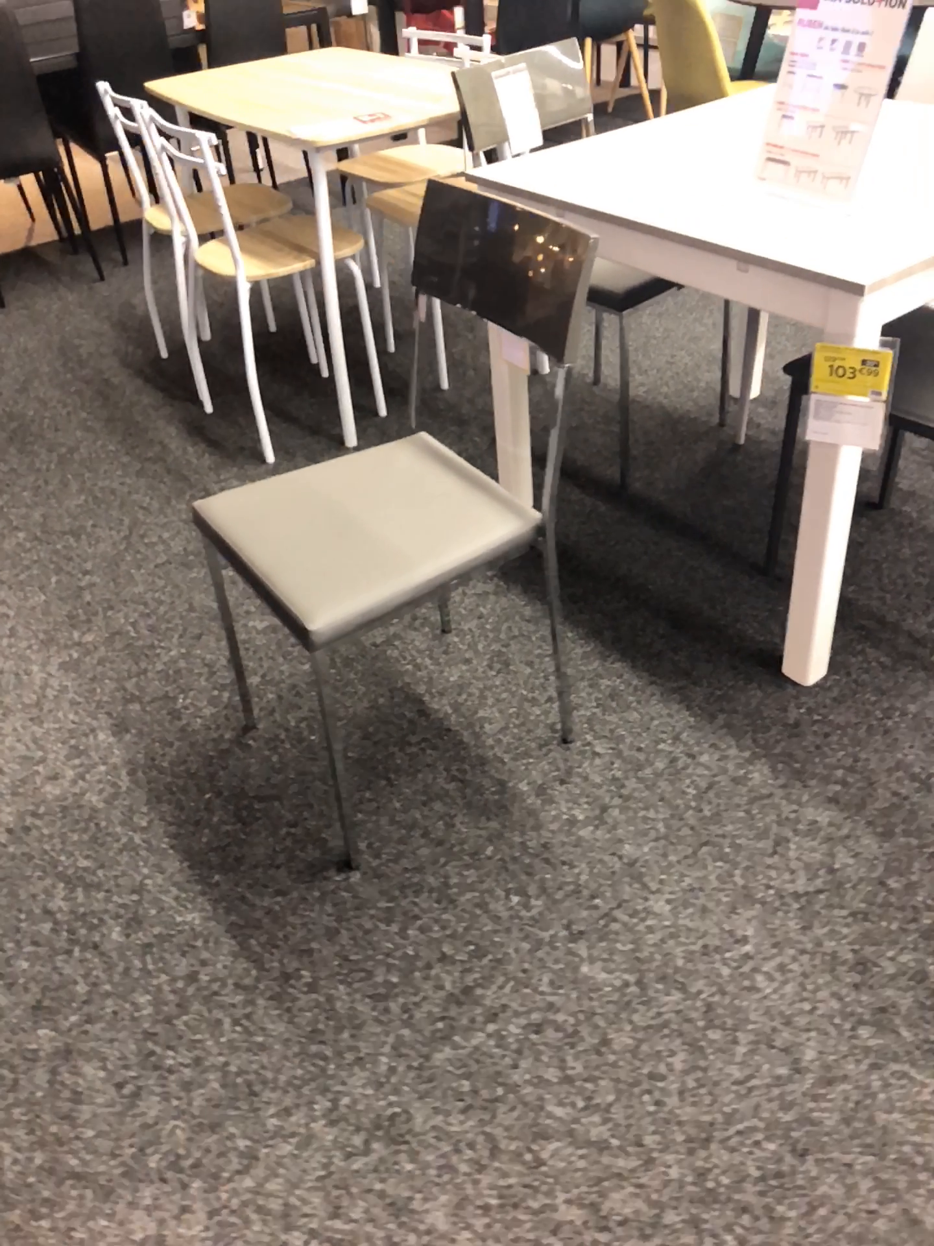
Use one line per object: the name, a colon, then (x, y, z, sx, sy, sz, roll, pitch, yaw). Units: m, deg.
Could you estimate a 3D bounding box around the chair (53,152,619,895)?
chair: (-0.147, -0.158, 1.543, 0.552, 0.855, 0.491, -25, 41, -24)
